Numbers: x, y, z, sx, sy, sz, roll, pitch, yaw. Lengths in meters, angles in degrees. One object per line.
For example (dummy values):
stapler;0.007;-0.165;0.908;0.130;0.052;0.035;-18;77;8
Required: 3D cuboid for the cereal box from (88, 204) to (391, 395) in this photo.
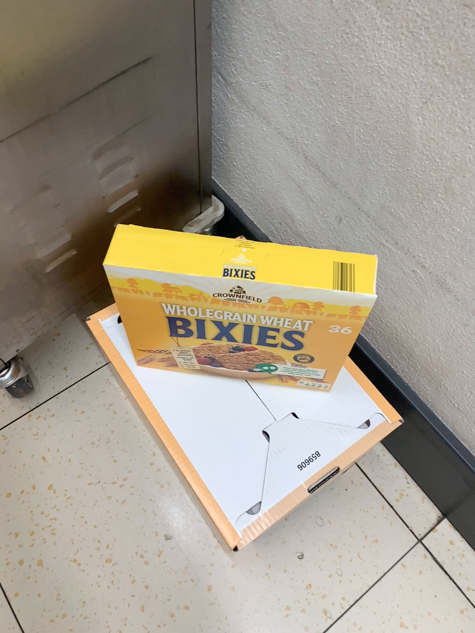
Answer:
cereal box;0.000;-0.001;0.599;0.290;0.278;0.070;7;62;1
